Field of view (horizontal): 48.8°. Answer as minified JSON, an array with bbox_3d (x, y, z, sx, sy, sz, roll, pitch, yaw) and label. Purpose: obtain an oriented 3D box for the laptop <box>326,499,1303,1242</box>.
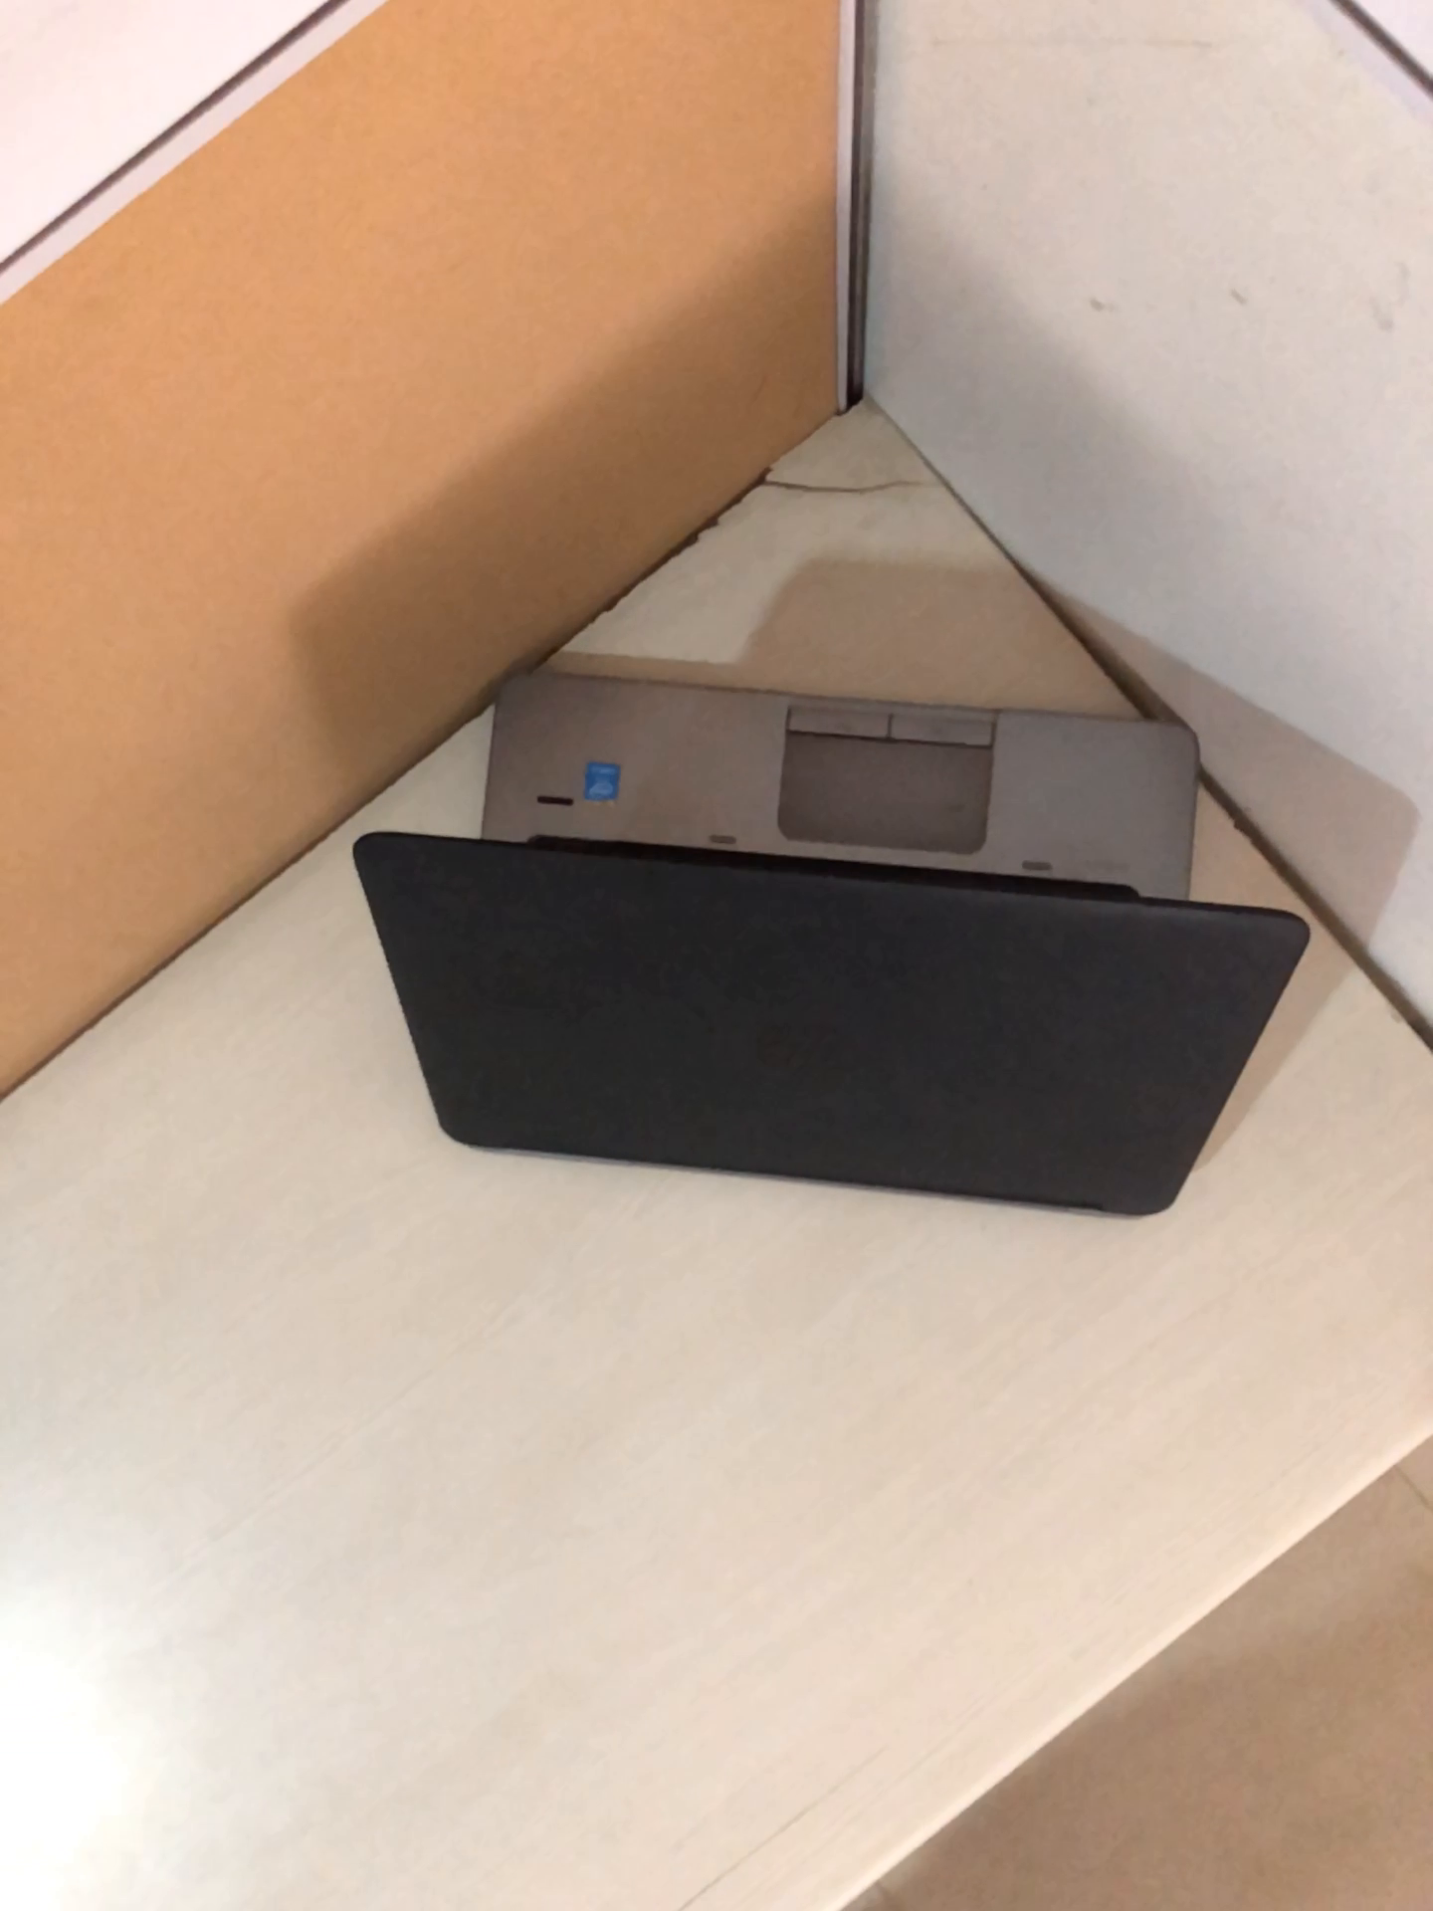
[{"bbox_3d":[0.040,-0.025,0.633,0.318,0.194,0.227,5,85,4],"label":"laptop"}]
